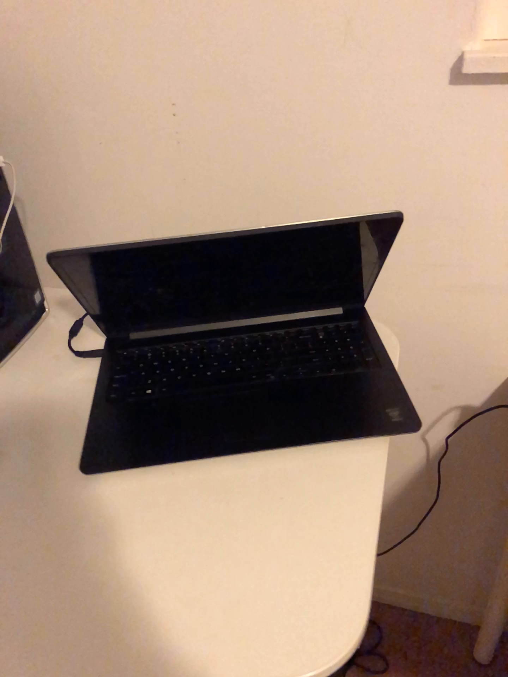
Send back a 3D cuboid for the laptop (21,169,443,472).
[{"bbox_3d":[-0.023,-0.033,0.650,0.373,0.207,0.252,-7,35,-1],"label":"laptop"}]
